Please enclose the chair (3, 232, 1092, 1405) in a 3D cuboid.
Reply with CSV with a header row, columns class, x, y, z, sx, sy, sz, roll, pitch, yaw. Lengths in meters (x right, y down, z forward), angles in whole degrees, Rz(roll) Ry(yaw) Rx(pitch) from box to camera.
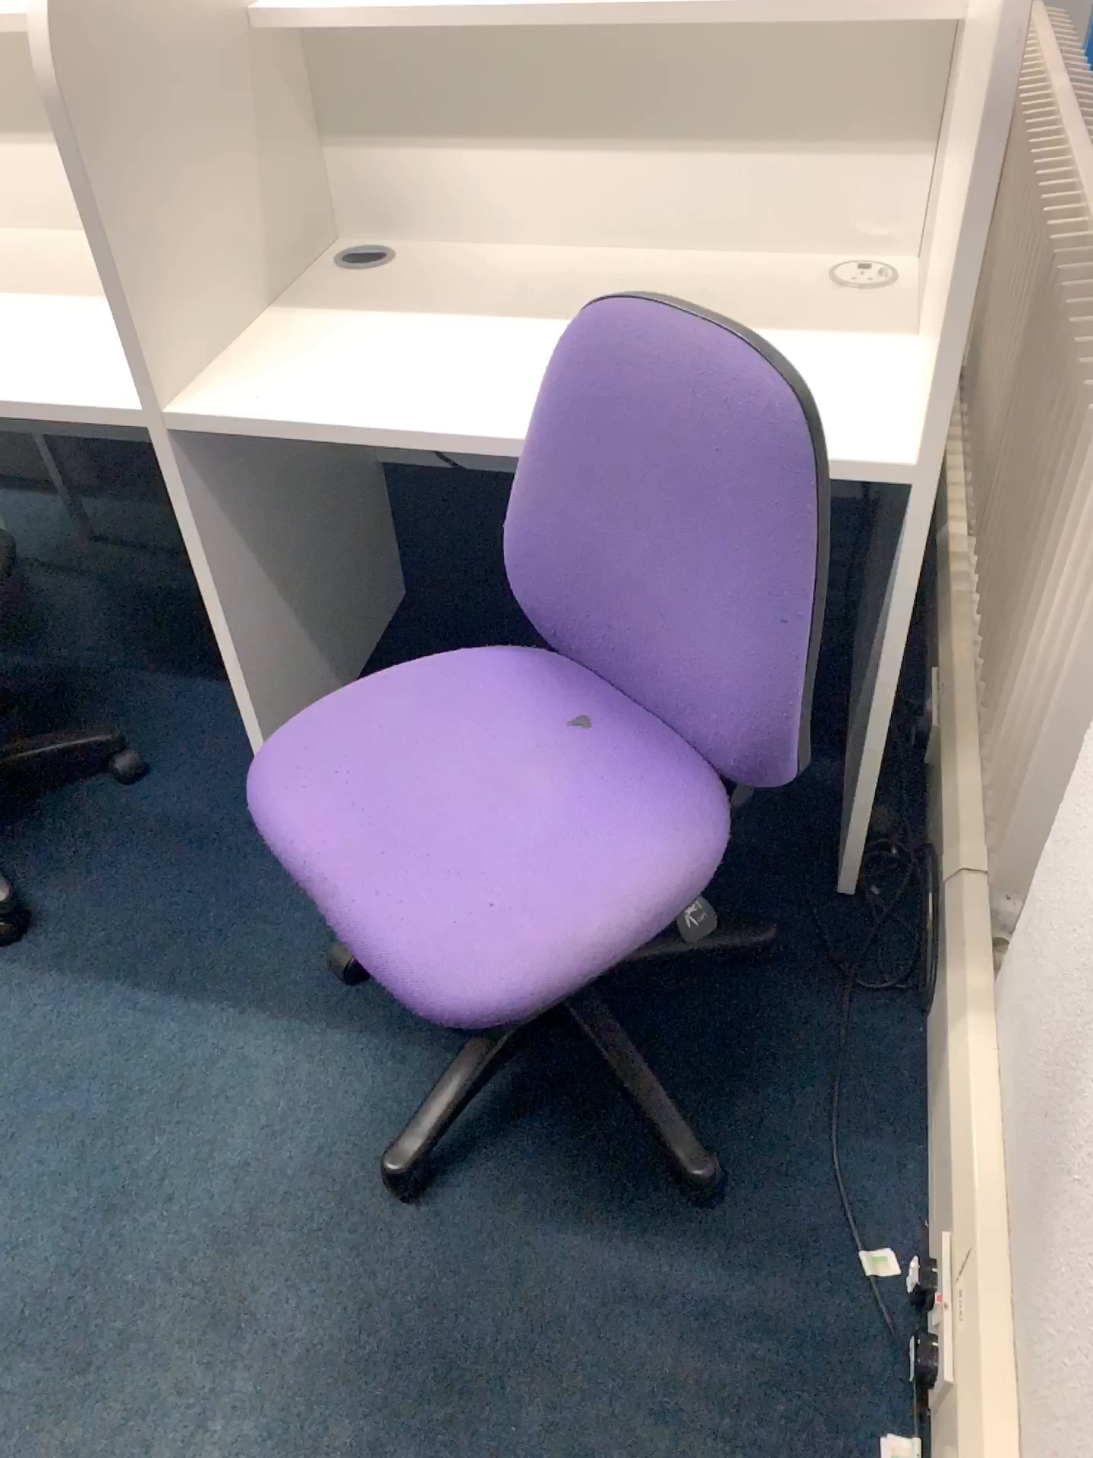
class,x,y,z,sx,sy,sz,roll,pitch,yaw
chair,-0.007,0.064,1.227,0.652,0.862,0.695,-29,47,-25
